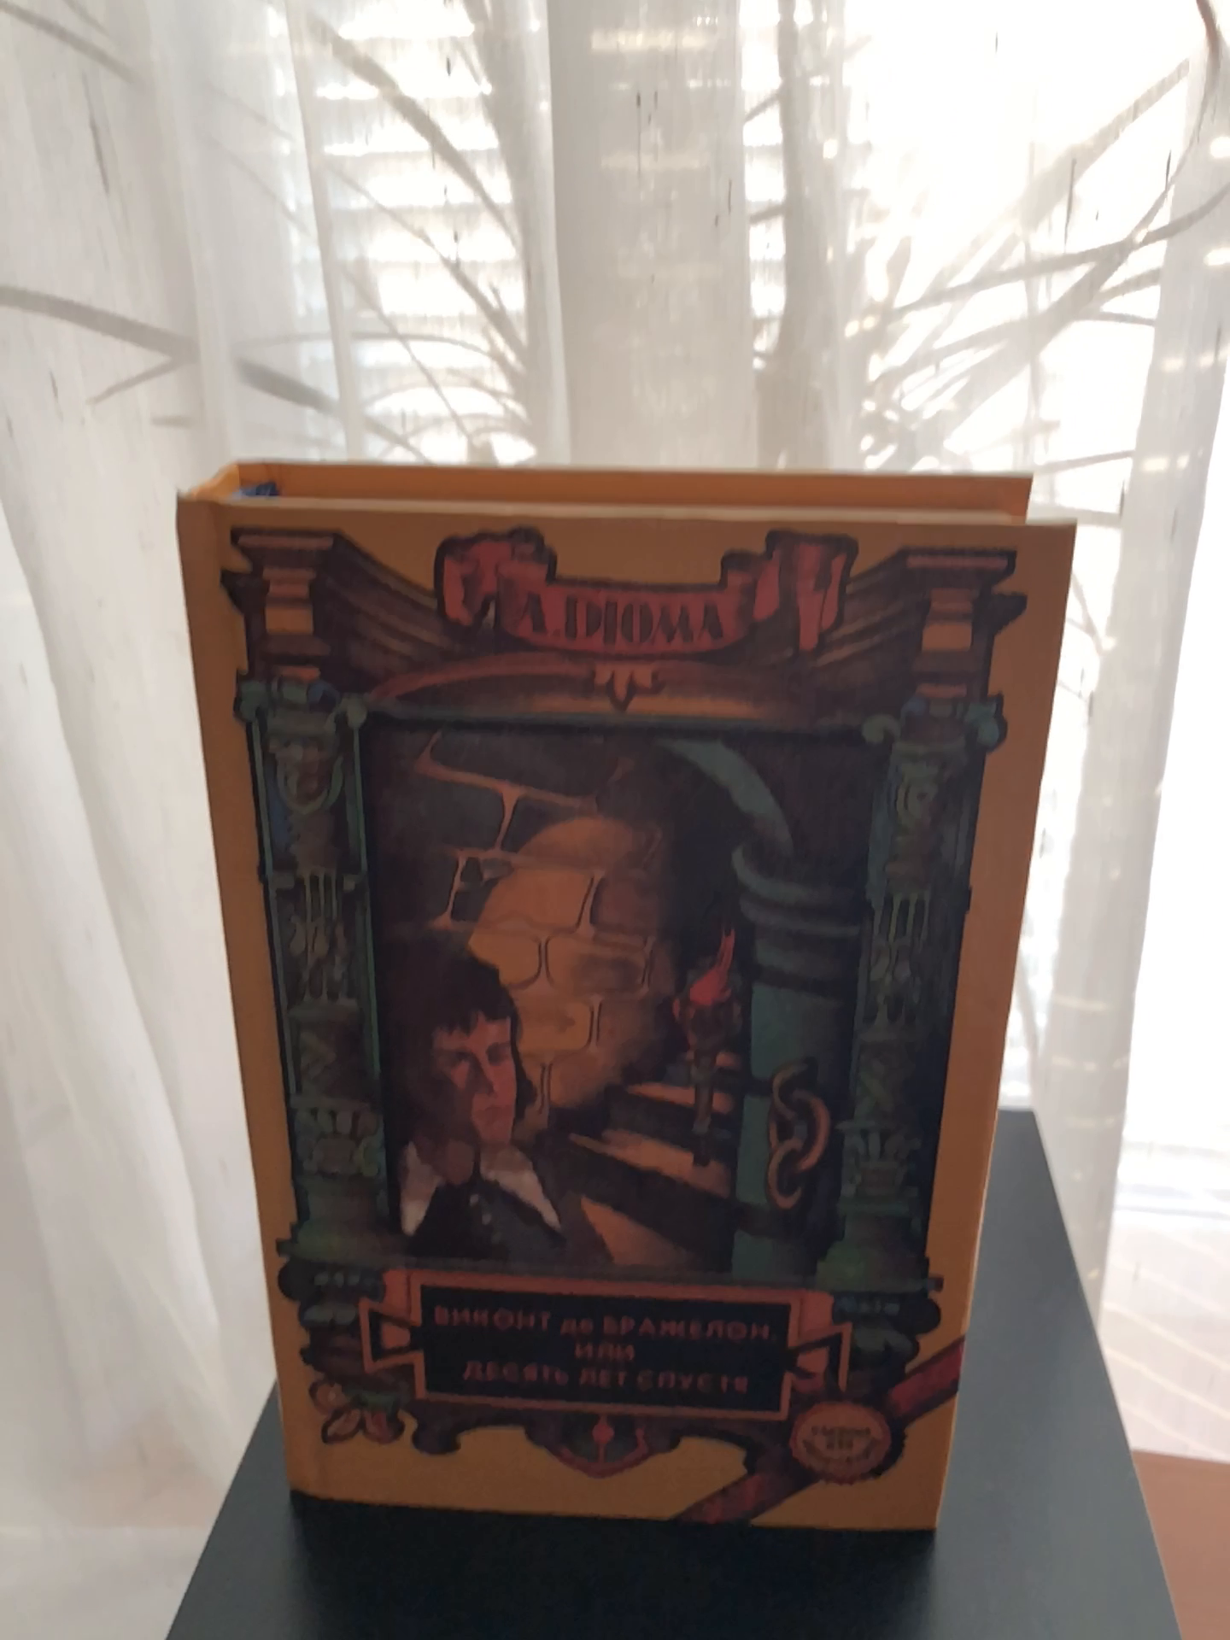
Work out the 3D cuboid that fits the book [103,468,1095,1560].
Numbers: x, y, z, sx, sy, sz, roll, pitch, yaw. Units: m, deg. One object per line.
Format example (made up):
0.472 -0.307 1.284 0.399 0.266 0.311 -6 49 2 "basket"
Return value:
-0.001 0.040 0.250 0.141 0.198 0.040 1 22 5 "book"
